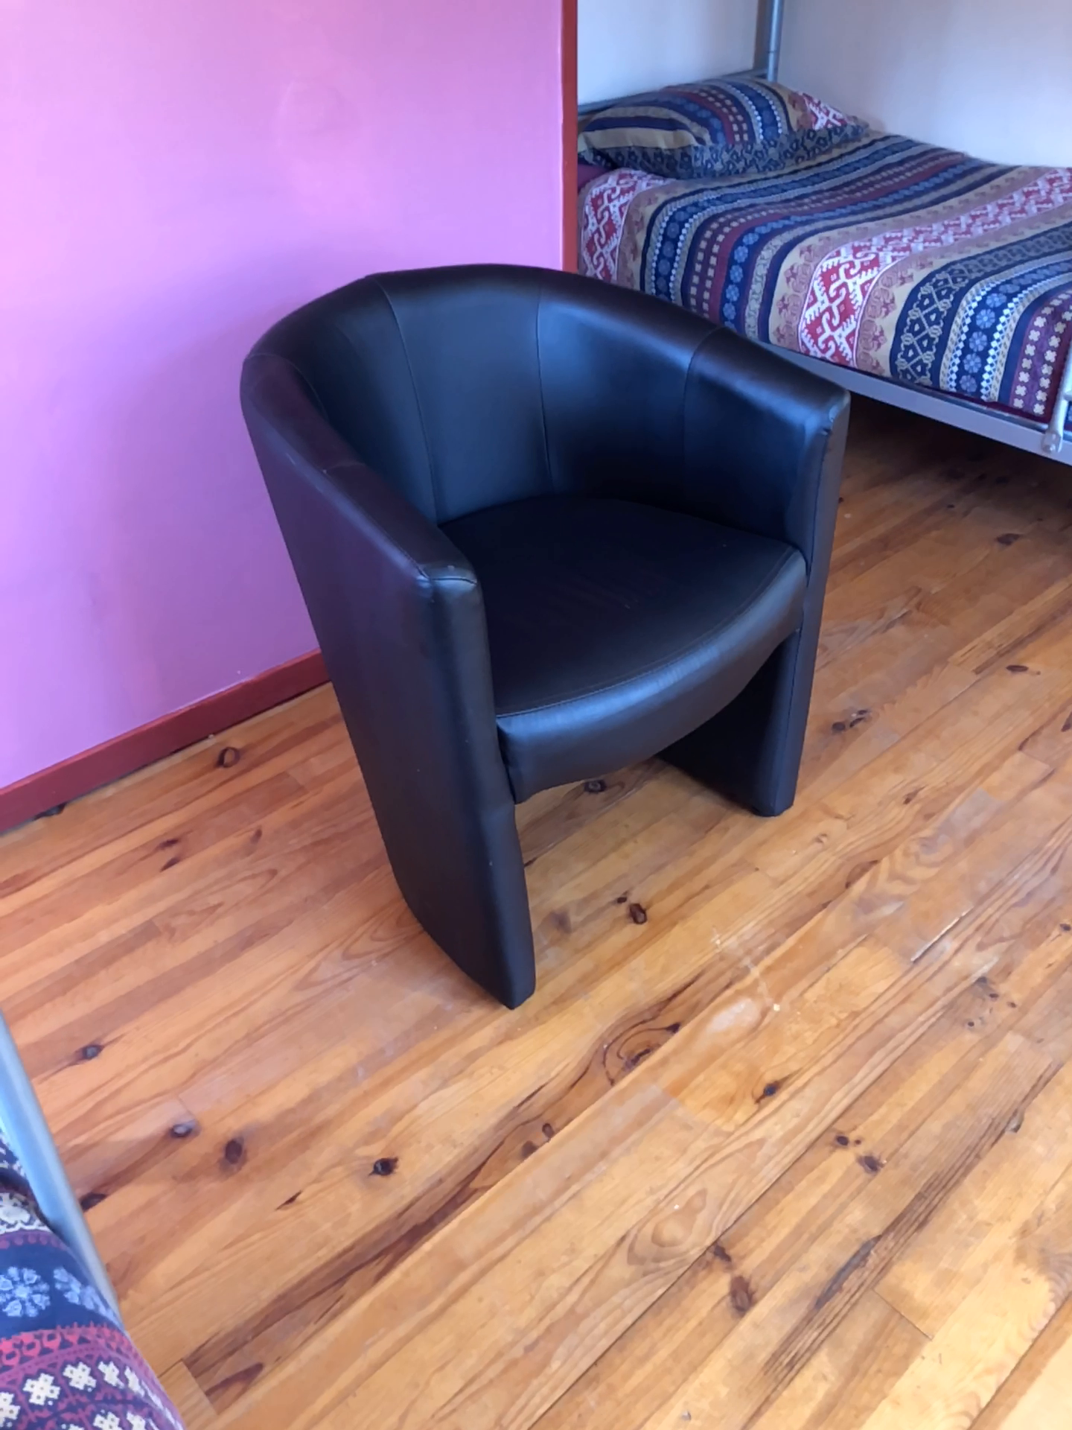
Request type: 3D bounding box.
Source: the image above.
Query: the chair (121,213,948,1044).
[{"bbox_3d":[0.005,-0.164,1.458,0.673,0.646,0.591,-29,45,-32],"label":"chair"}]
